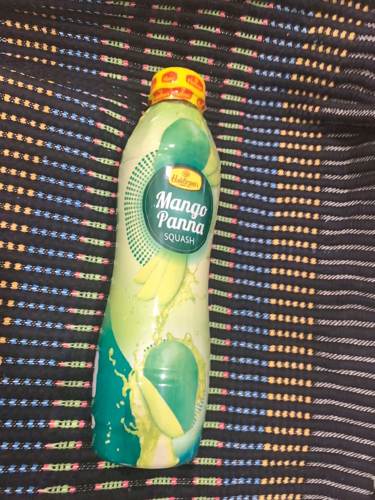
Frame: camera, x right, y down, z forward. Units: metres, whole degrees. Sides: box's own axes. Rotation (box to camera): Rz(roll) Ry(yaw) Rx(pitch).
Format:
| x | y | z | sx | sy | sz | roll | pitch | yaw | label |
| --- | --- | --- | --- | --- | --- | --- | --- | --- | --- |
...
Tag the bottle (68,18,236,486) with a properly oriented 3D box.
| x | y | z | sx | sy | sz | roll | pitch | yaw | label |
| --- | --- | --- | --- | --- | --- | --- | --- | --- | --- |
| -0.019 | -0.007 | 0.255 | 0.070 | 0.050 | 0.270 | 11 | 76 | -24 | bottle |
